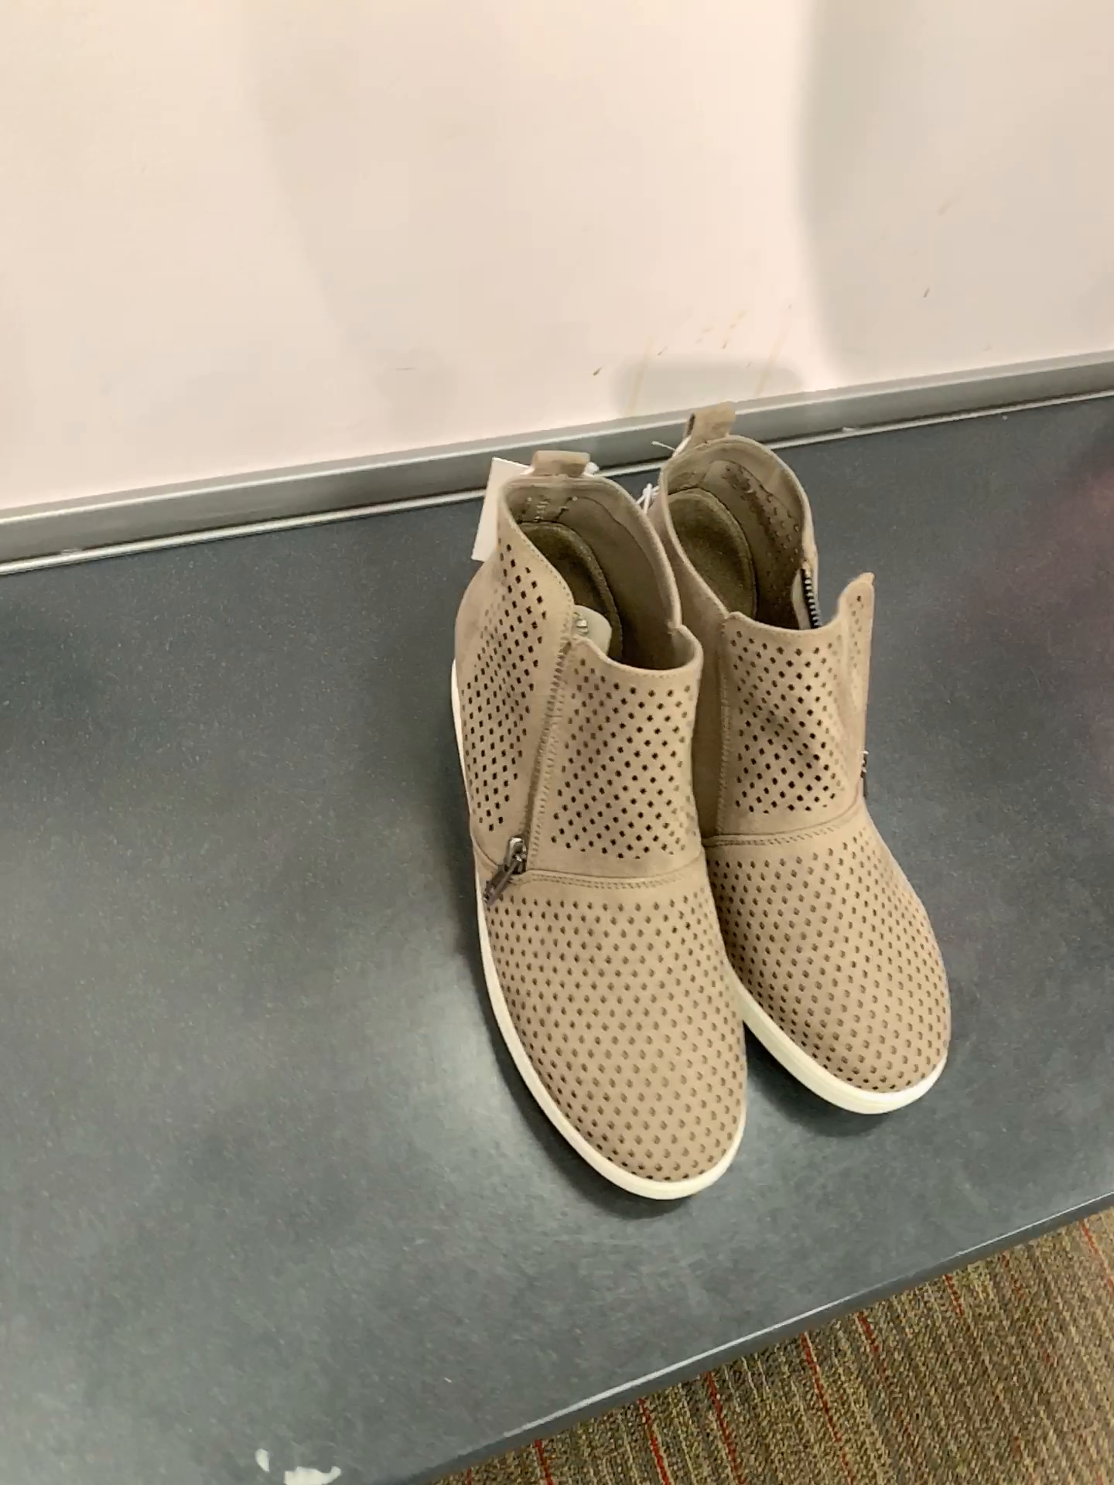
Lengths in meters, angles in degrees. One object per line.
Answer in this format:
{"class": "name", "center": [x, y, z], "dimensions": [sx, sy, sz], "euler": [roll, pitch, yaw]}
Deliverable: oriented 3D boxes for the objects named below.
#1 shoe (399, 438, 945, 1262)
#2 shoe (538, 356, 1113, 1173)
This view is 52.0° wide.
{"class": "shoe", "center": [0.018, 0.038, 0.415], "dimensions": [0.100, 0.140, 0.250], "euler": [-9, 65, -14]}
{"class": "shoe", "center": [0.099, 0.008, 0.425], "dimensions": [0.100, 0.140, 0.250], "euler": [-19, 68, -19]}
